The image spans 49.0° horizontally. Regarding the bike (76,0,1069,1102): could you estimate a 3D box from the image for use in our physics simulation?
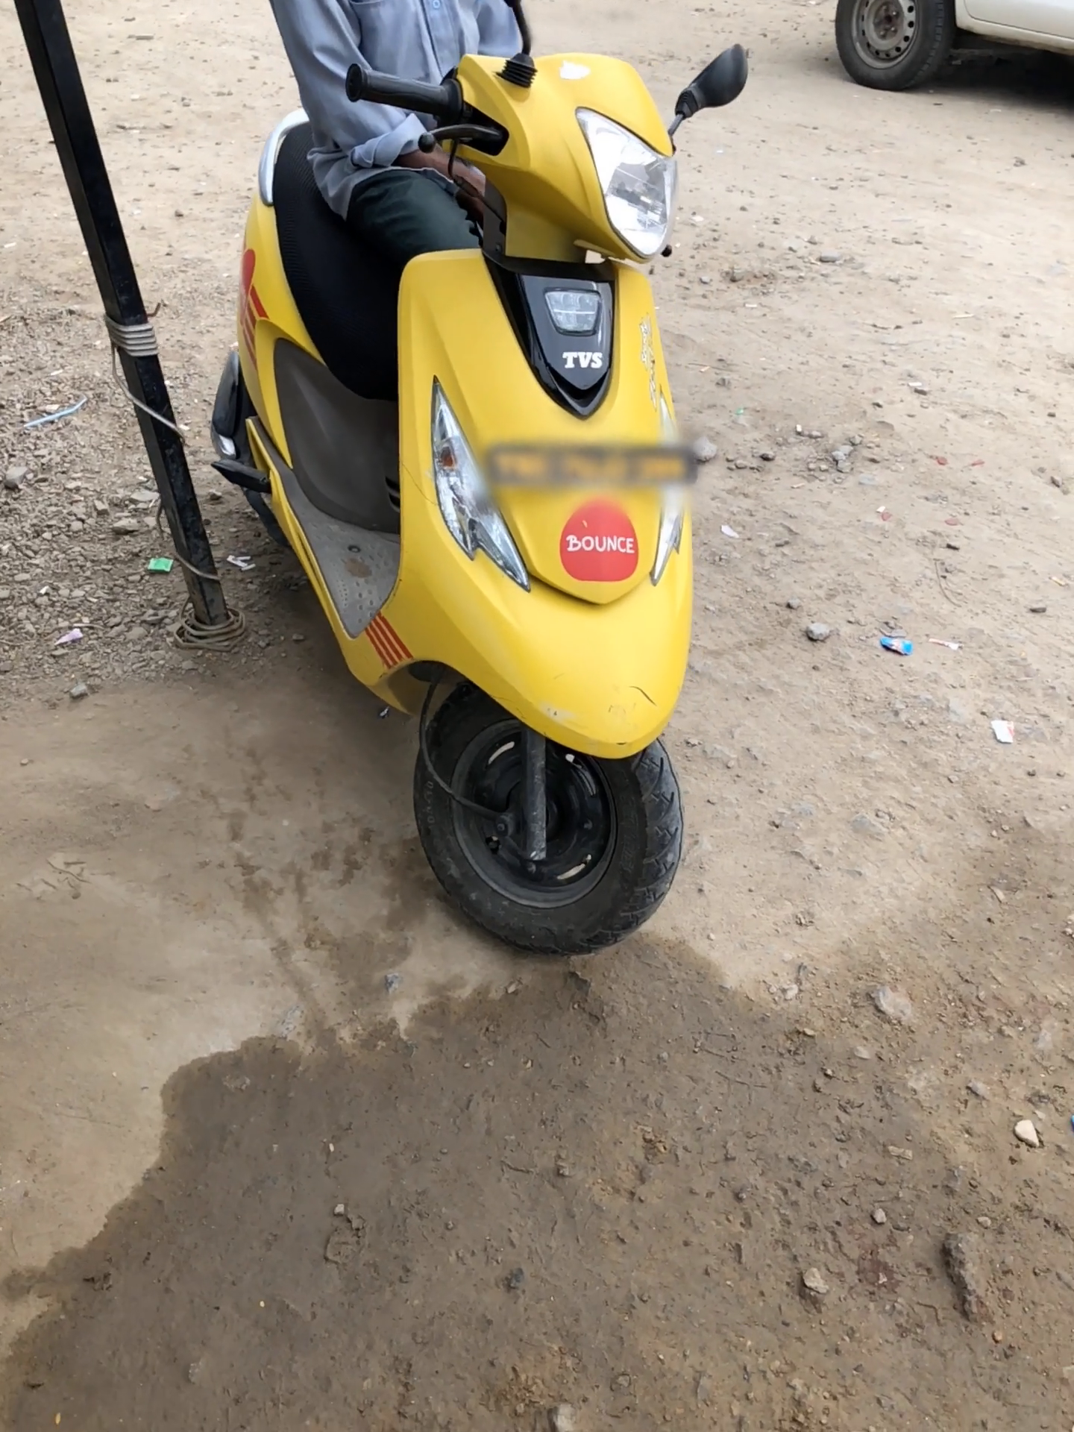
[{"bbox_3d":[-0.131,-0.513,2.076,0.891,1.160,1.660,-14,43,-16],"label":"bike"}]
